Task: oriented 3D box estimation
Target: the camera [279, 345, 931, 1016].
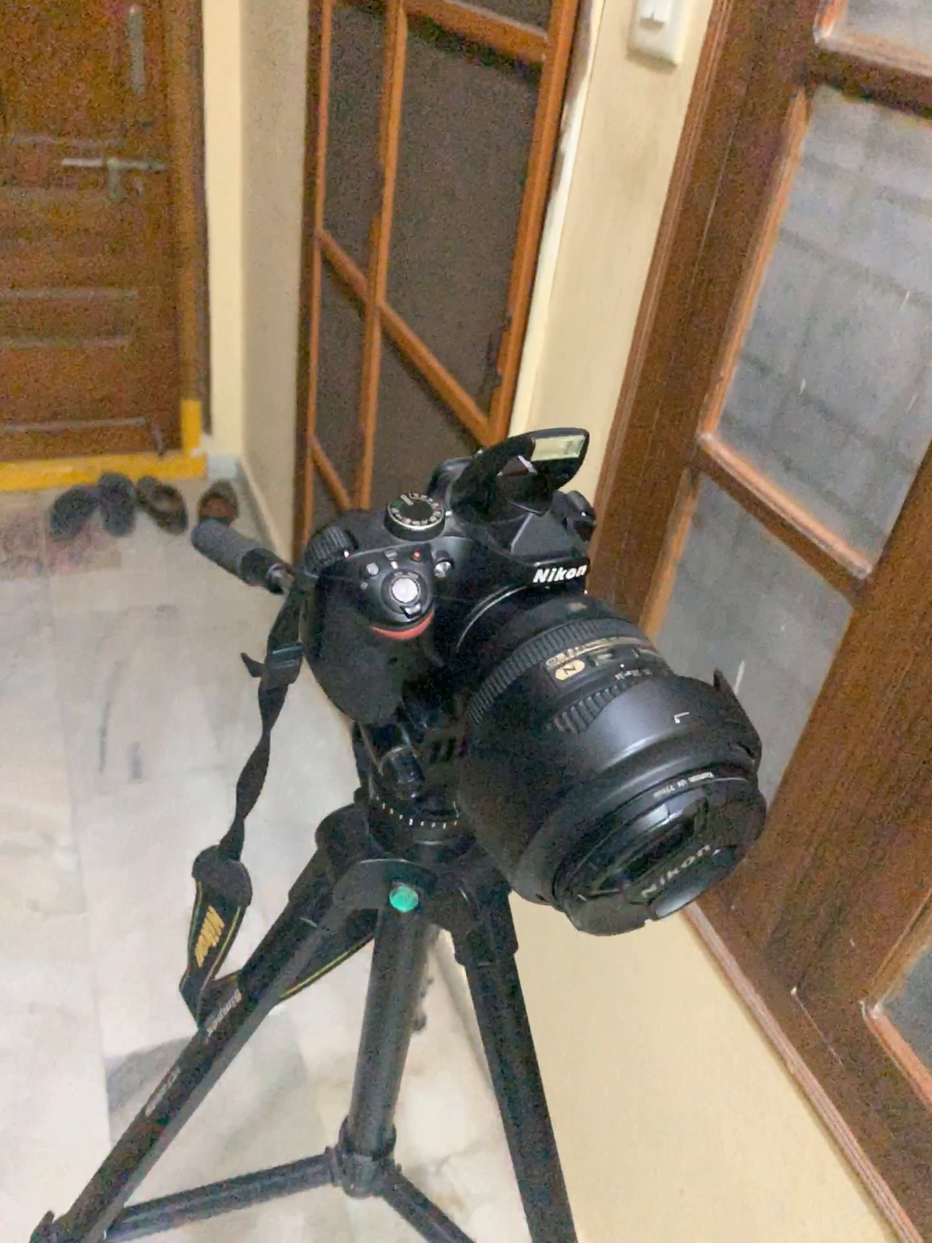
[{"bbox_3d":[0.033,0.000,0.359,0.150,0.128,0.201,-10,40,-25],"label":"camera"}]
